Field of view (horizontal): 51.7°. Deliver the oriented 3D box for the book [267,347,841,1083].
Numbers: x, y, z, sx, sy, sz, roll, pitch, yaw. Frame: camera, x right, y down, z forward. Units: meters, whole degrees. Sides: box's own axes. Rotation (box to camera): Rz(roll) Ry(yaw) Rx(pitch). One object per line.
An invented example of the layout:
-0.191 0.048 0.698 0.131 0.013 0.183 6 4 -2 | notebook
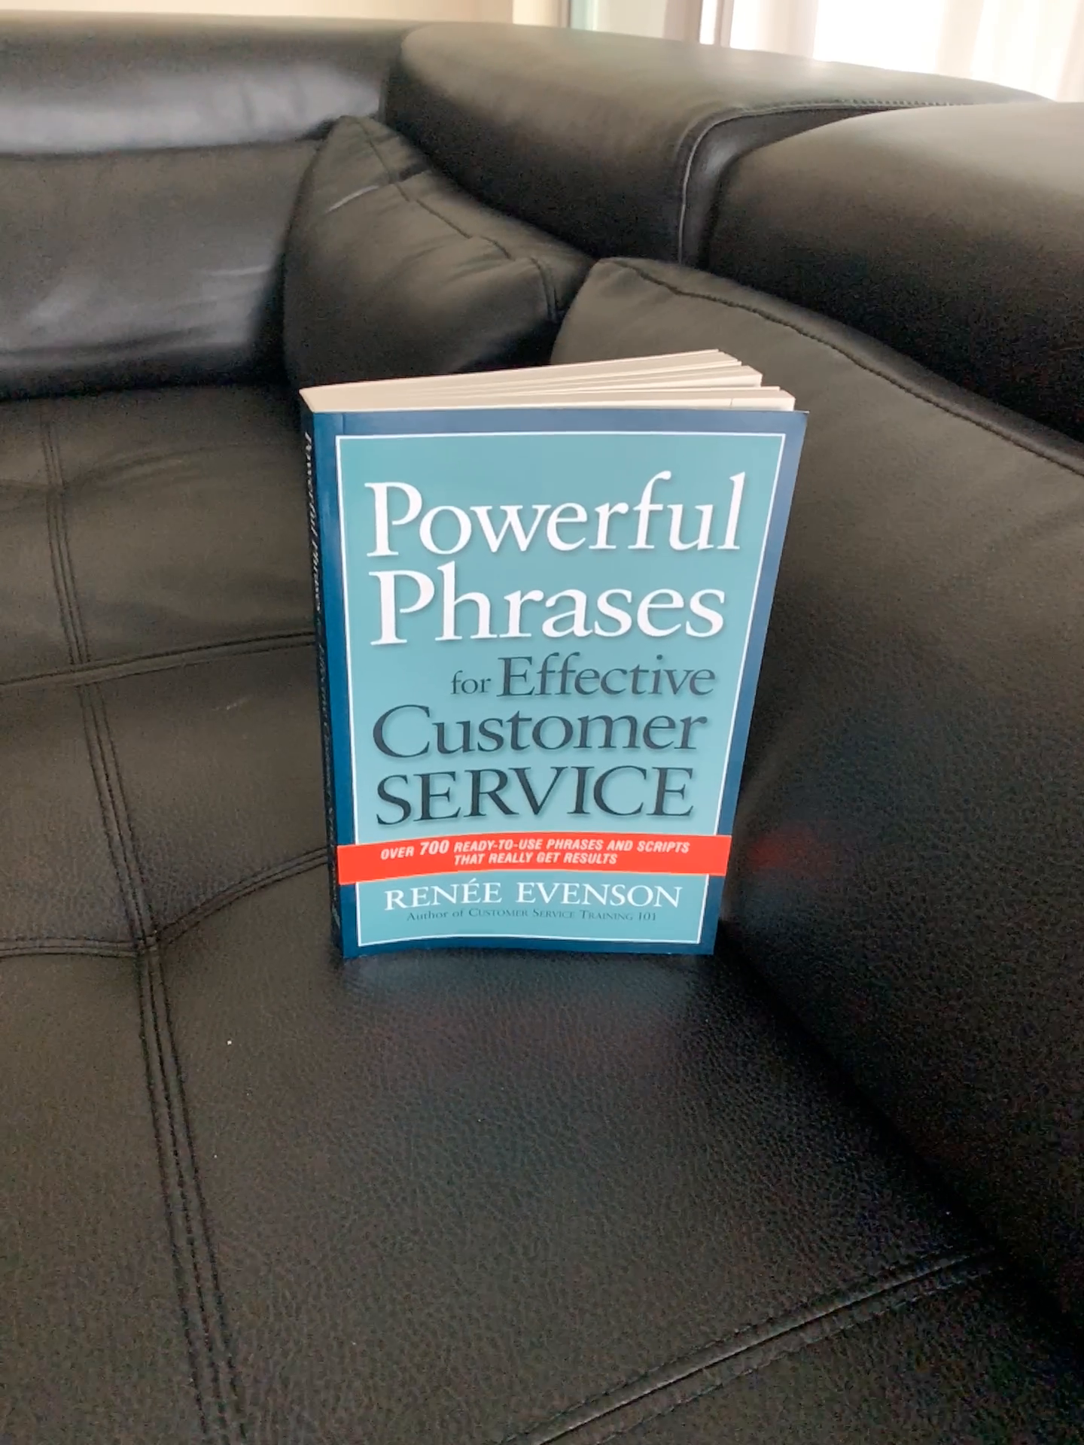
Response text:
-0.003 0.001 0.419 0.162 0.246 0.083 -9 35 -17 | book
